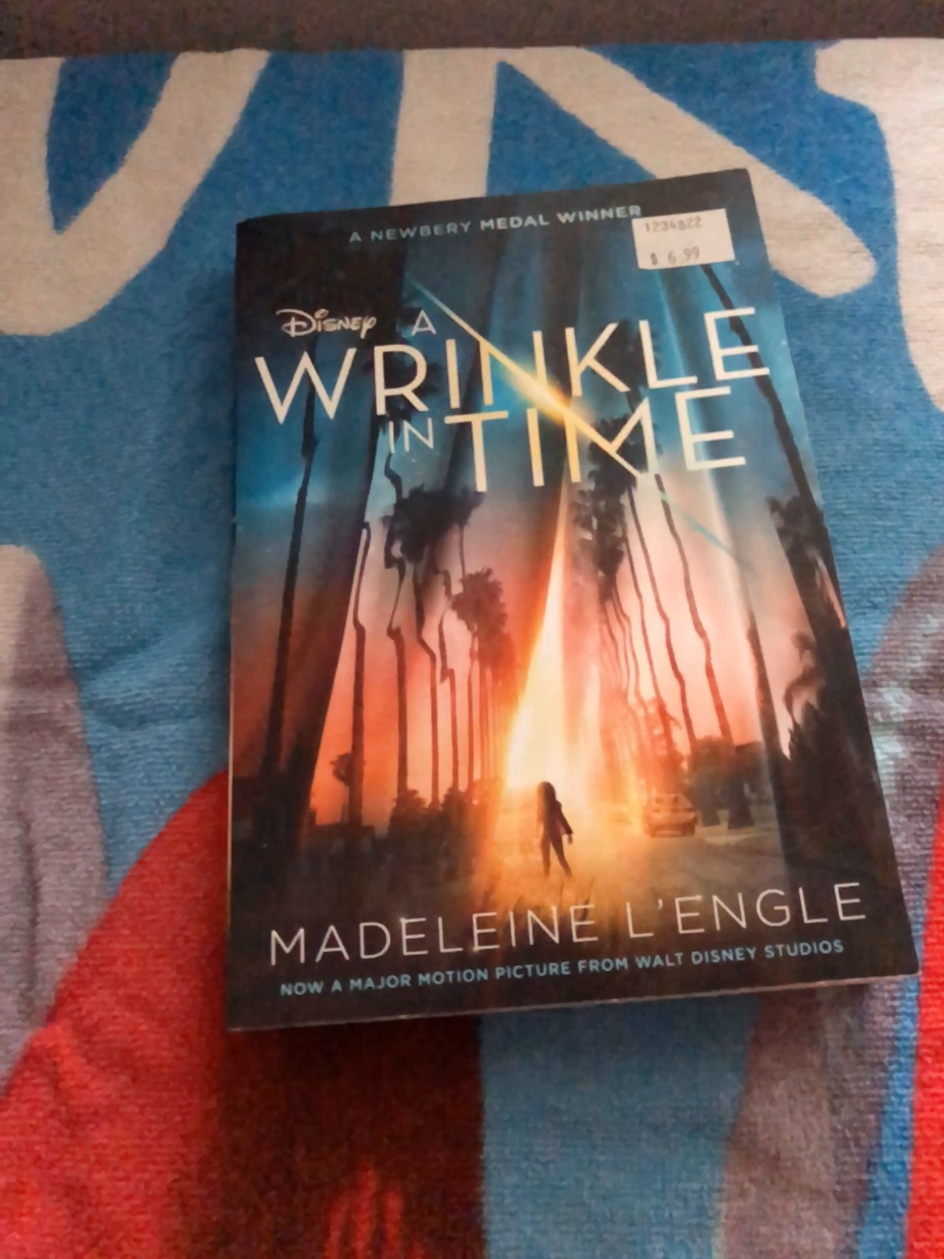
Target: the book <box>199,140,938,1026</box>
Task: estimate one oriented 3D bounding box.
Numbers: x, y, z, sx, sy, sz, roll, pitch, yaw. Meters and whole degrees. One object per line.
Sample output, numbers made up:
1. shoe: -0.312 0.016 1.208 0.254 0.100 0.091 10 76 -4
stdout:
1. book: 0.013 -0.017 0.242 0.138 0.031 0.195 -4 71 3
